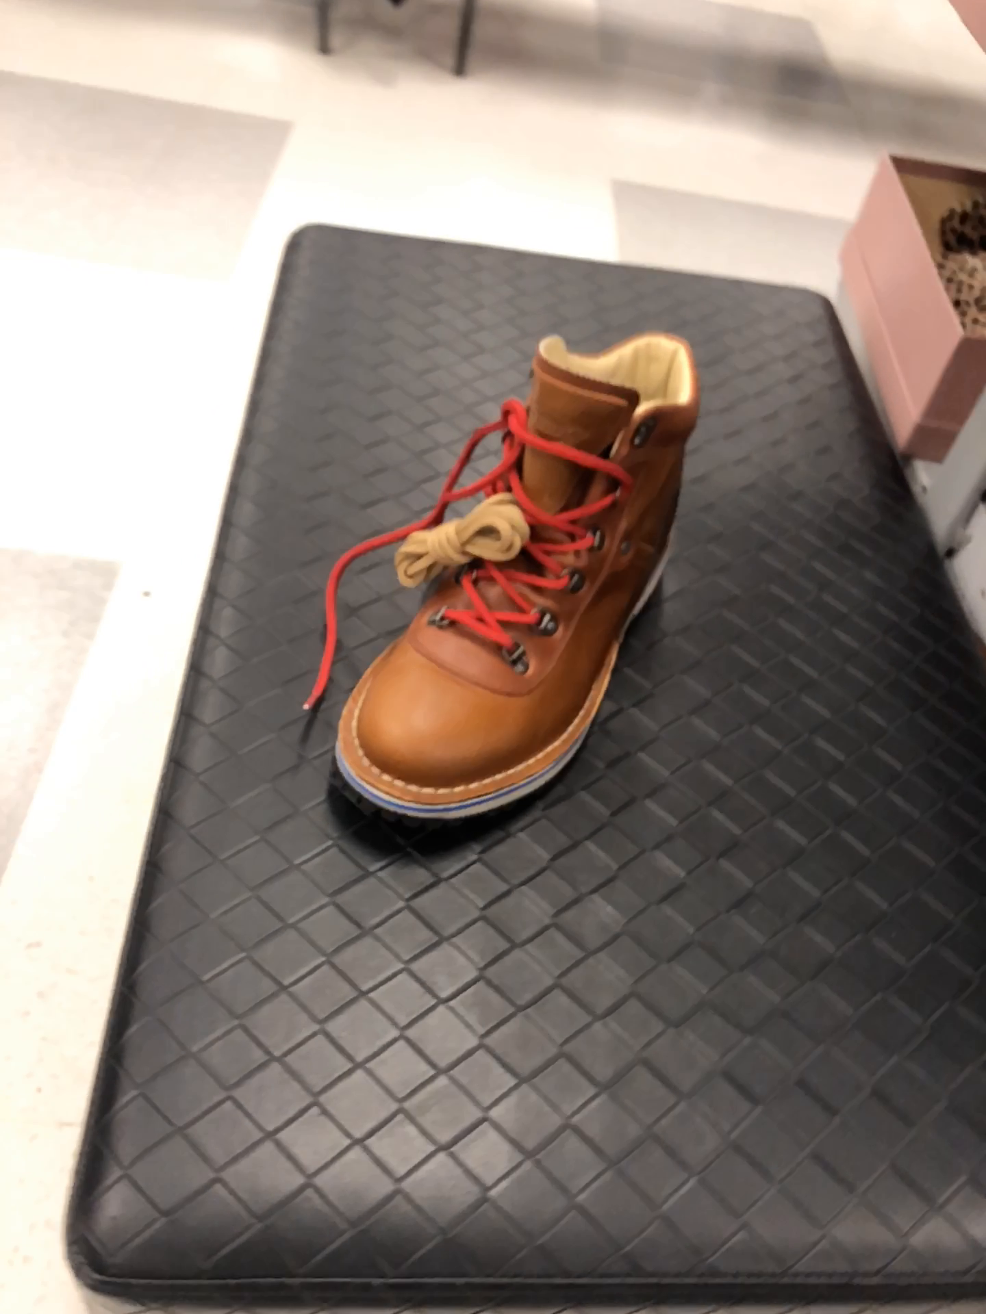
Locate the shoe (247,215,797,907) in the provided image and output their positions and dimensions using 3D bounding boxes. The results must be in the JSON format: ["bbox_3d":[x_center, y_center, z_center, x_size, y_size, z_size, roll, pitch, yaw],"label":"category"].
[{"bbox_3d":[0.020,-0.062,0.545,0.122,0.180,0.299,27,48,13],"label":"shoe"}]
